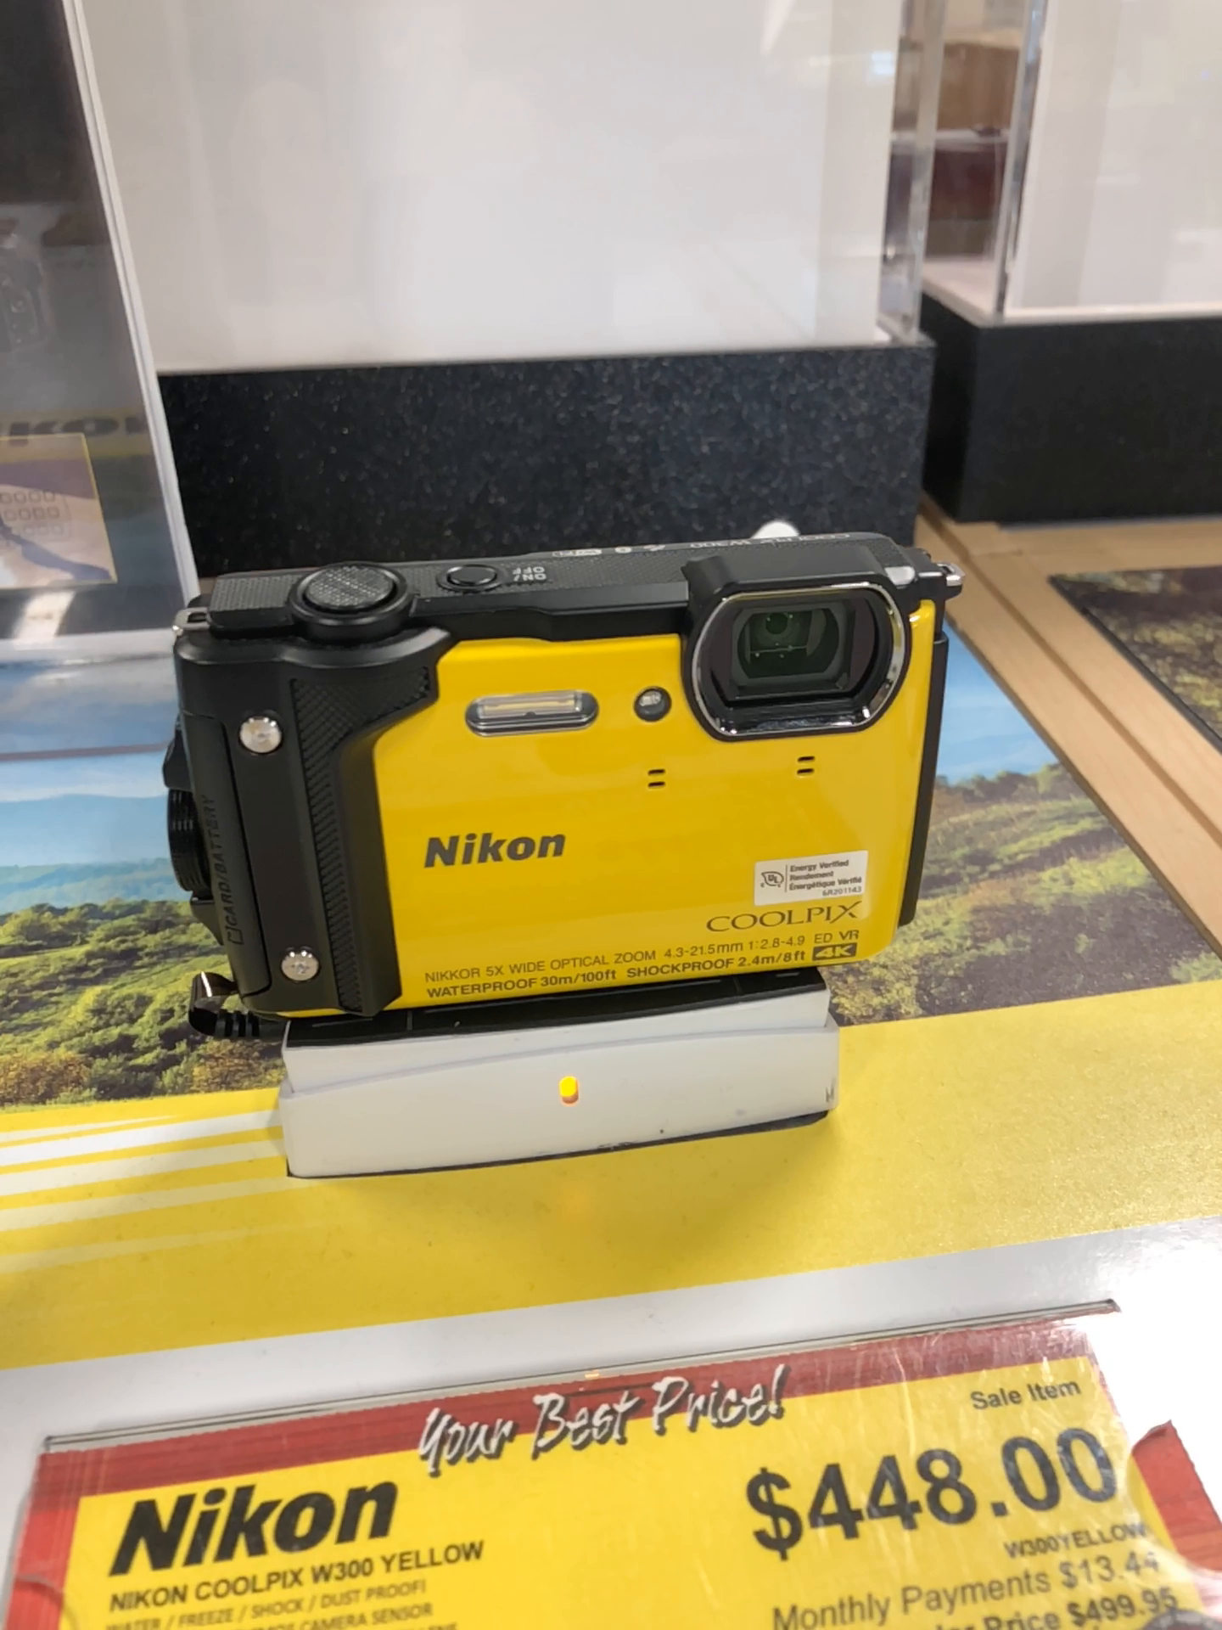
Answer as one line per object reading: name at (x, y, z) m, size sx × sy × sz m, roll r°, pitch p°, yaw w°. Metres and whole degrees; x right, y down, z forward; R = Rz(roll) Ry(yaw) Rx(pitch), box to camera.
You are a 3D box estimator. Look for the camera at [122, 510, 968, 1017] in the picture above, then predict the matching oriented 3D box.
camera at (-0.008, -0.008, 0.204) m, size 0.110 × 0.060 × 0.030 m, roll -5°, pitch 32°, yaw -6°
